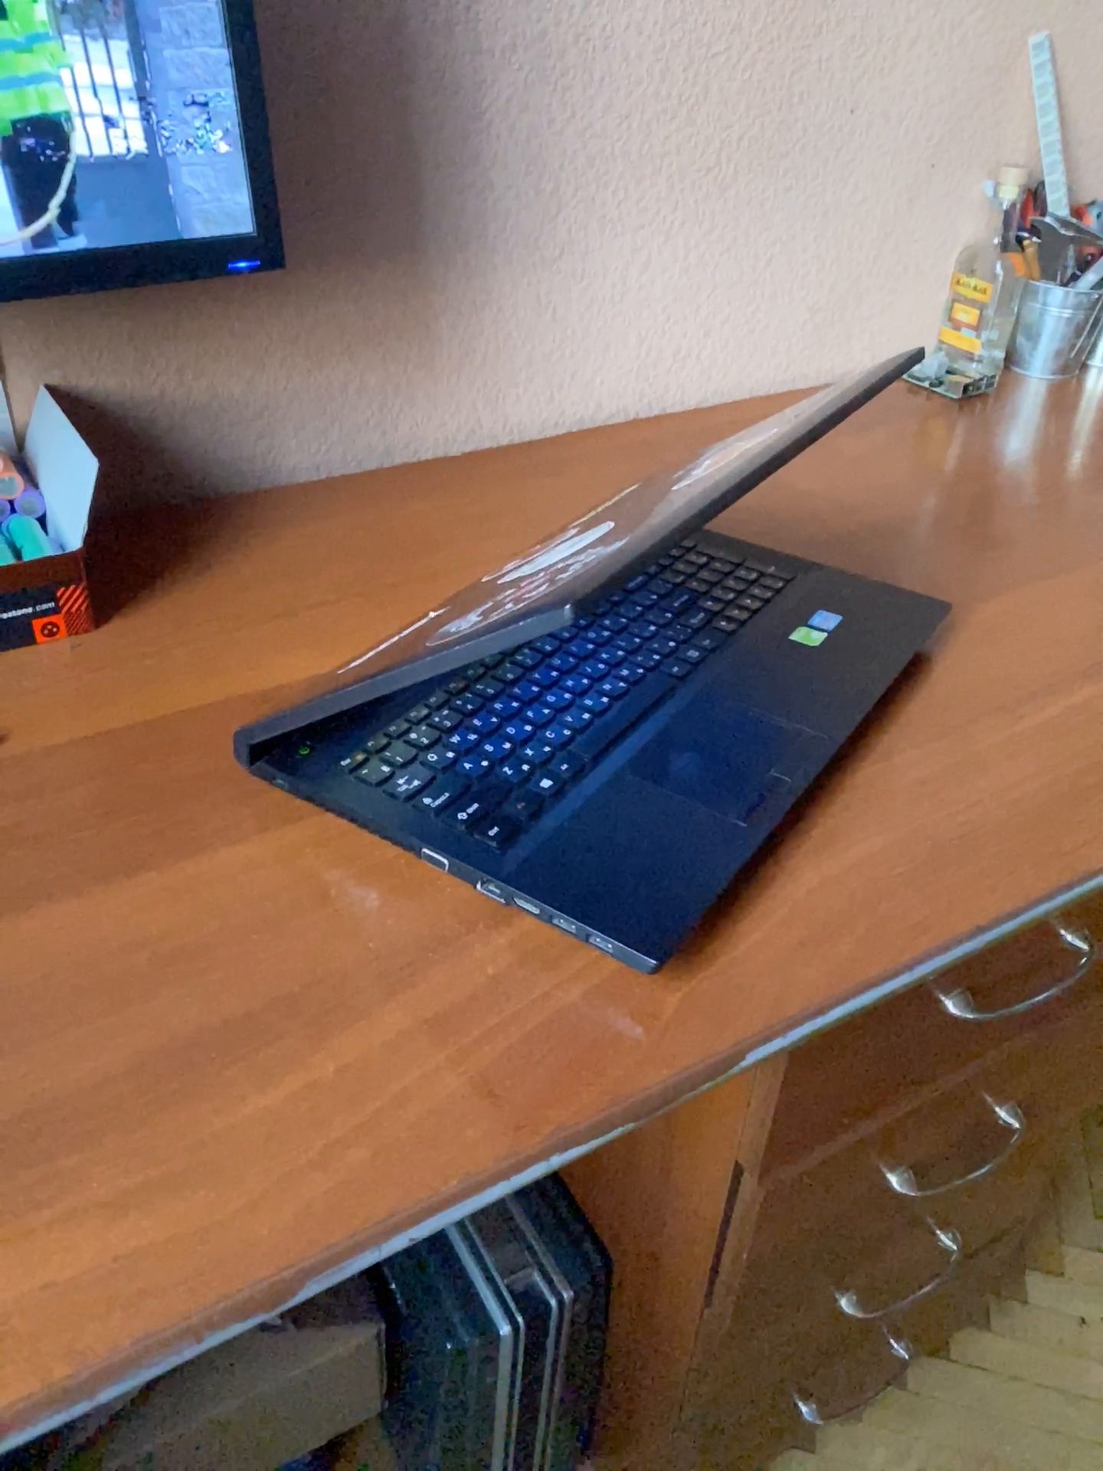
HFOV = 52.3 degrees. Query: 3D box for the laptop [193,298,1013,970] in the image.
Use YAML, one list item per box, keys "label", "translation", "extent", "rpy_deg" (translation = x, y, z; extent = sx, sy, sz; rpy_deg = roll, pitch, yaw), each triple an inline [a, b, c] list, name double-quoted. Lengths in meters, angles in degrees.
- label: "laptop"
  translation: [0.051, -0.098, 0.608]
  extent: [0.256, 0.149, 0.379]
  rpy_deg: [23, 40, 25]
